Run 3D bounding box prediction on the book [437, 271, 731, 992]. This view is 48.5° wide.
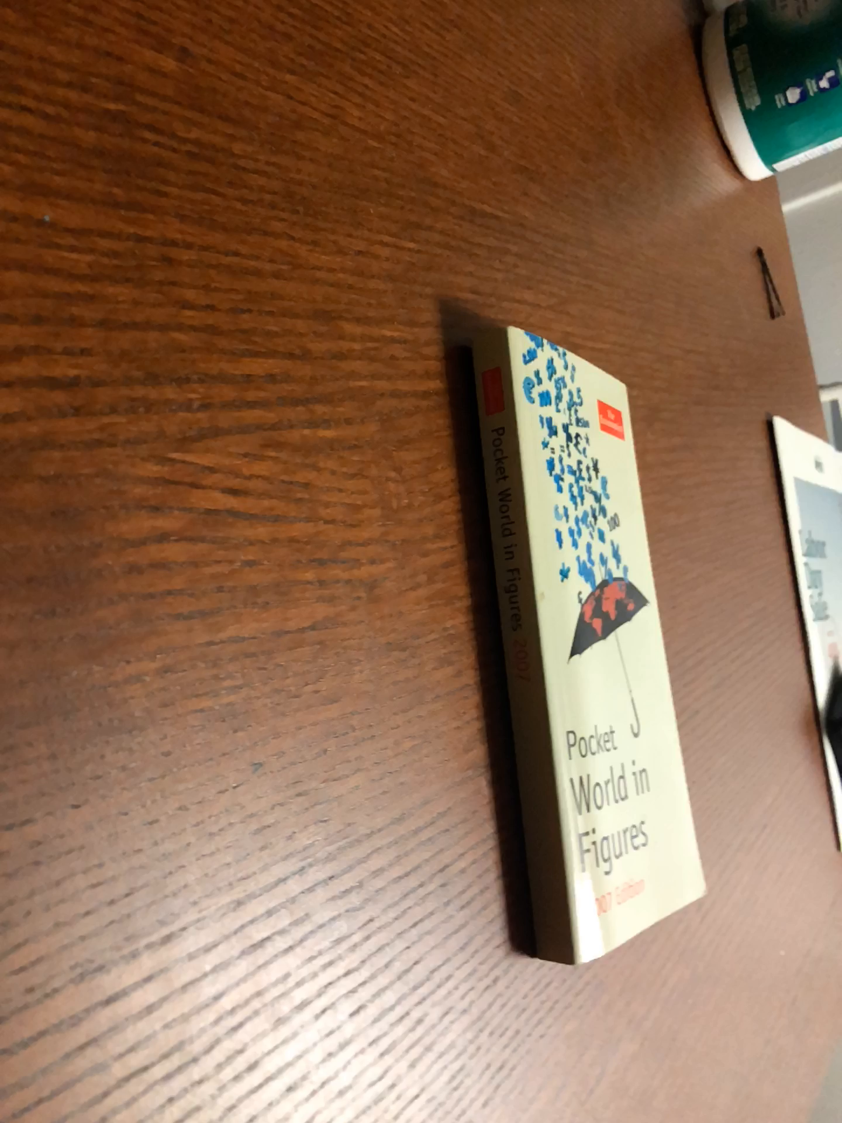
[{"bbox_3d":[0.056,0.019,0.307,0.100,0.030,0.200,6,75,-53],"label":"book"}]
